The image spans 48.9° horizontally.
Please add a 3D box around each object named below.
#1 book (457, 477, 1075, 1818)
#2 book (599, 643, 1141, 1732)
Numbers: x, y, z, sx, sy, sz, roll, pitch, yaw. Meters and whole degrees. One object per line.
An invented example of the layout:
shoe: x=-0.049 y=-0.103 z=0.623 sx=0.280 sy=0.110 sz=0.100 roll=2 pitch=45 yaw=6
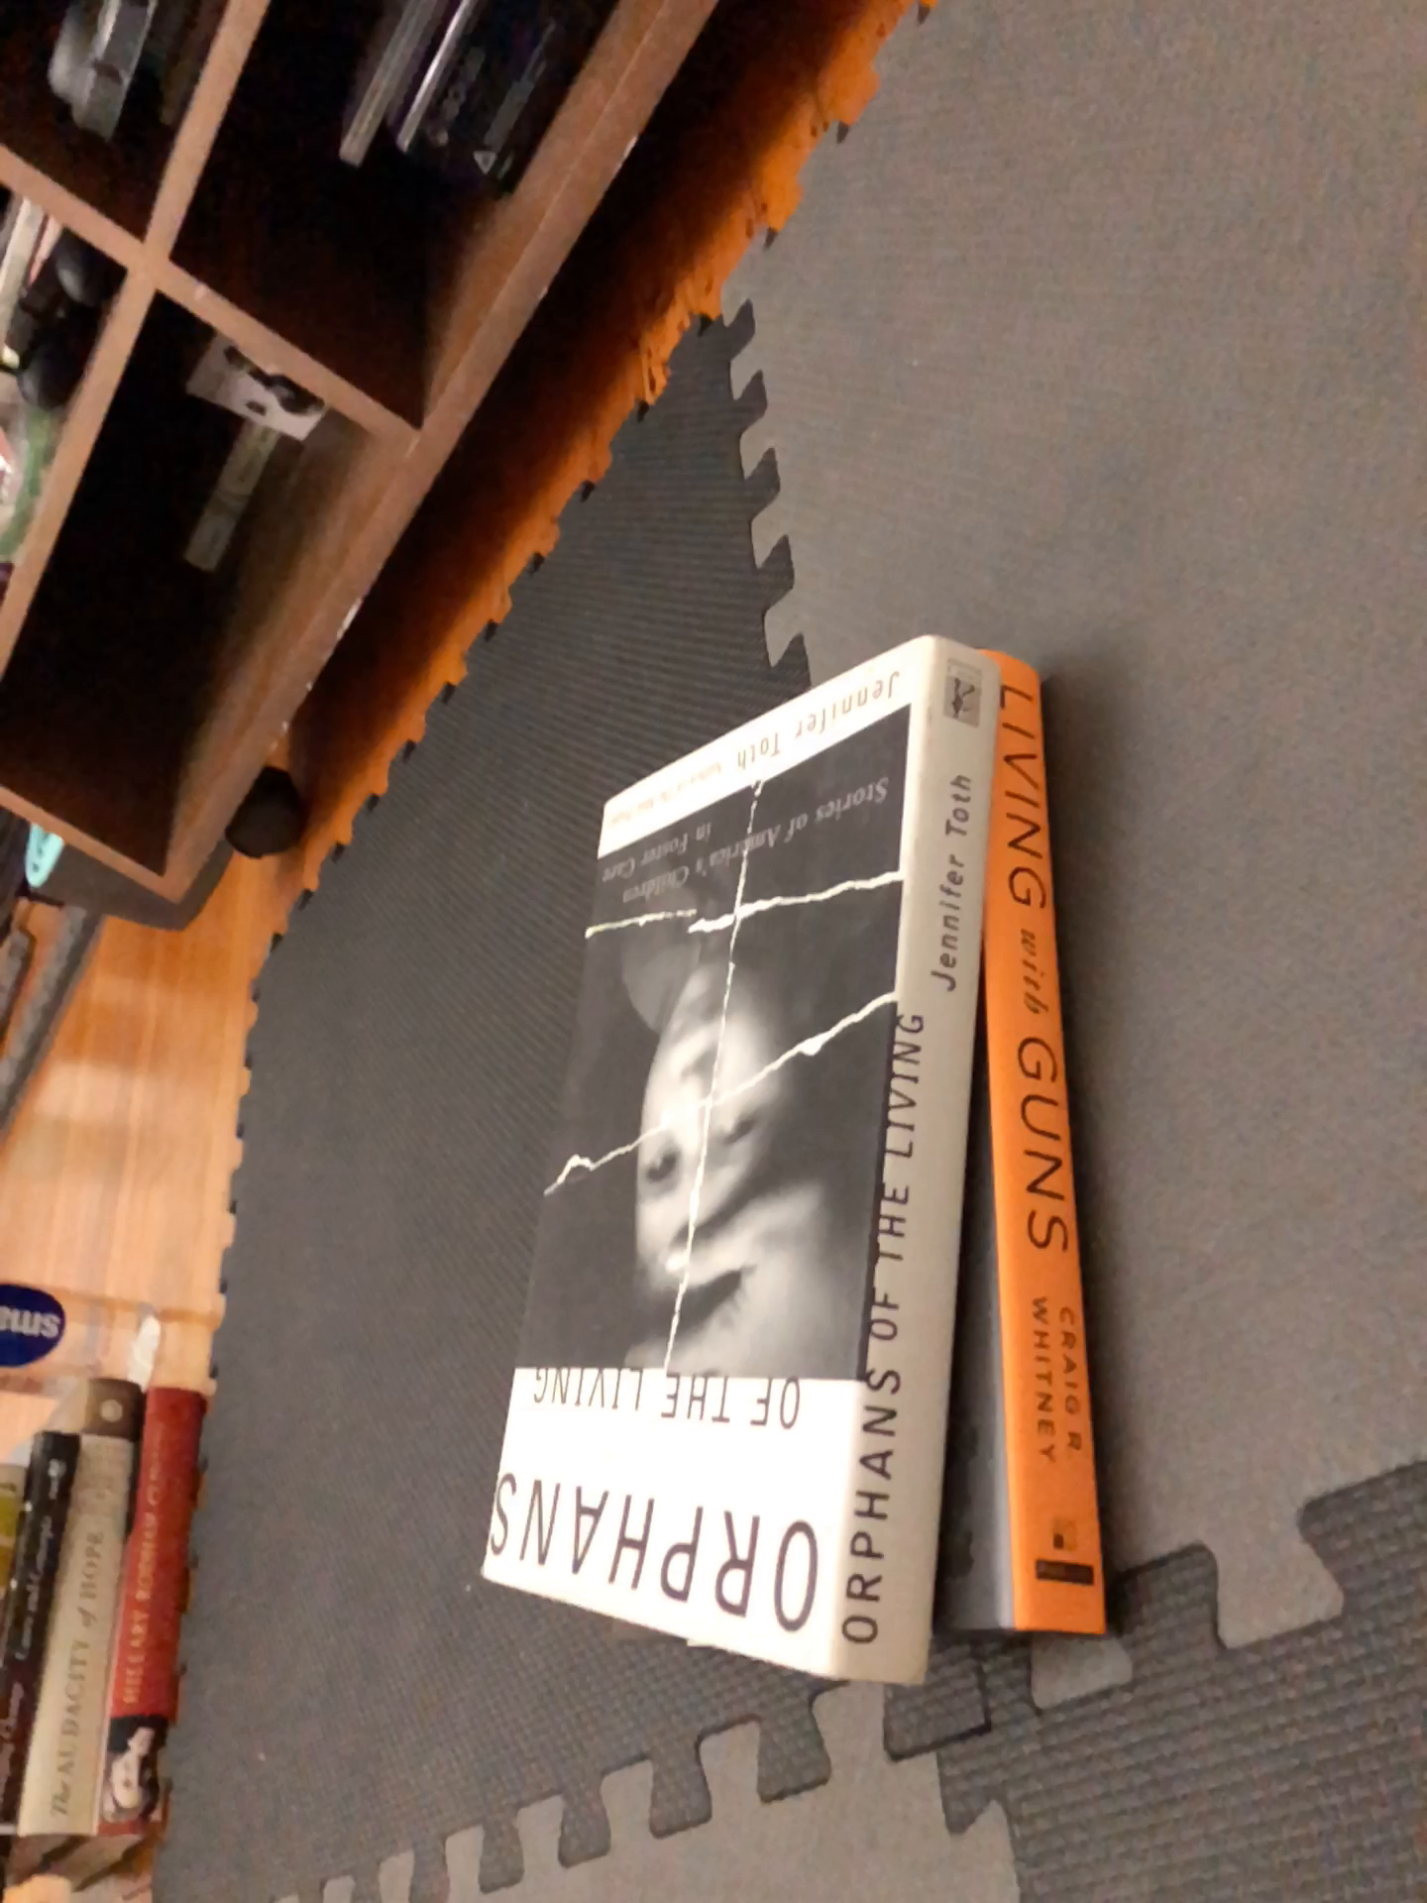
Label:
book: x=0.009 y=0.043 z=0.403 sx=0.181 sy=0.030 sz=0.280 roll=-21 pitch=56 yaw=55
book: x=0.030 y=0.065 z=0.414 sx=0.160 sy=0.030 sz=0.251 roll=-34 pitch=46 yaw=49
